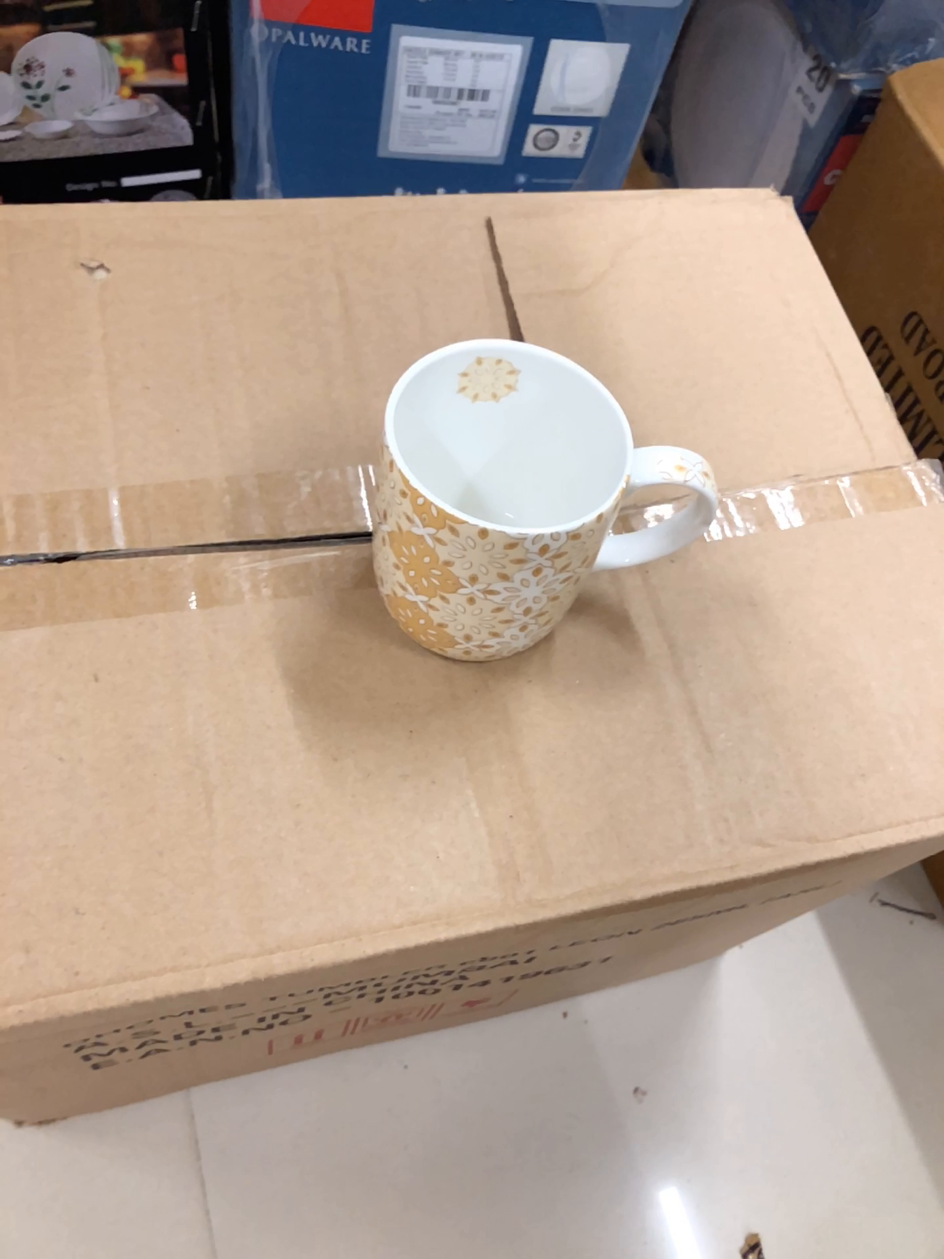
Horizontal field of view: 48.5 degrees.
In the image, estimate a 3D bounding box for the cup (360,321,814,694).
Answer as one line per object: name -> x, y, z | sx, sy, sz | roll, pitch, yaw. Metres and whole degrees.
cup -> 0.028, -0.035, 0.347 | 0.120, 0.090, 0.080 | 1, 60, -12
